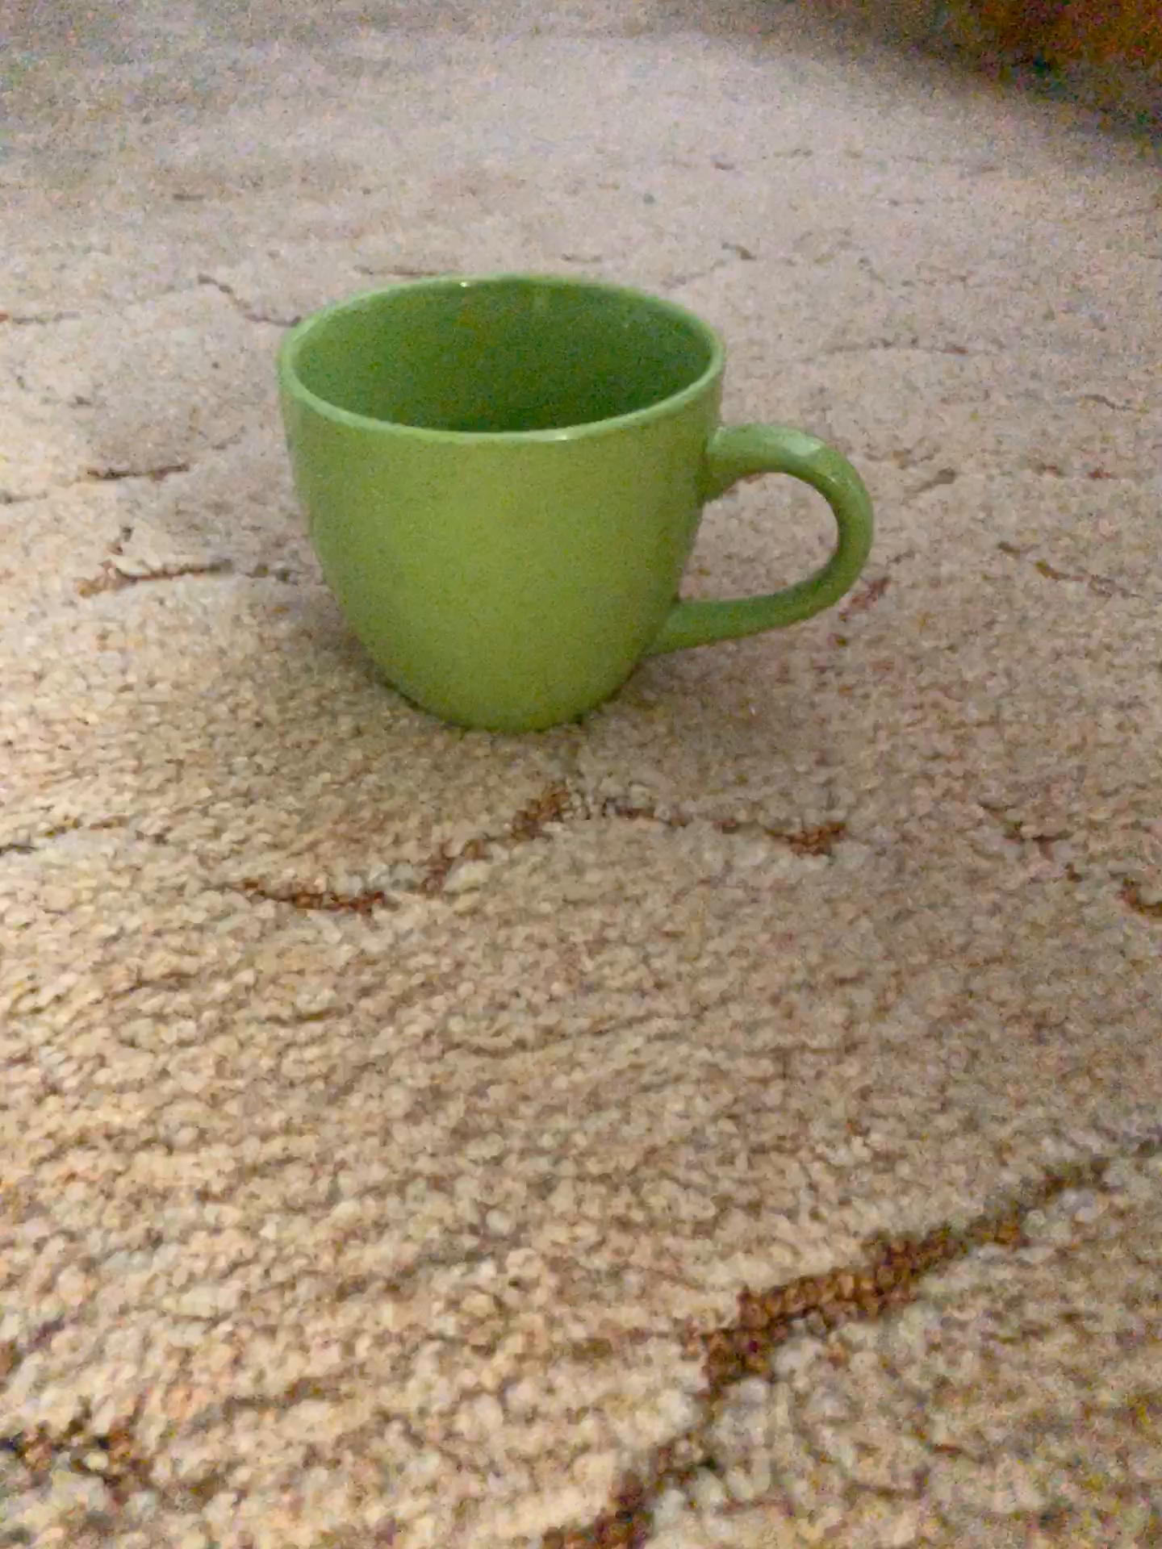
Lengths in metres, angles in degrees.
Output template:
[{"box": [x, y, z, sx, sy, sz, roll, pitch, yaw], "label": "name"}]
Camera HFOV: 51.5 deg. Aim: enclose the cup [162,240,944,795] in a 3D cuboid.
[{"box": [0.000, -0.058, 0.239, 0.120, 0.059, 0.091, 13, 37, 14], "label": "cup"}]
